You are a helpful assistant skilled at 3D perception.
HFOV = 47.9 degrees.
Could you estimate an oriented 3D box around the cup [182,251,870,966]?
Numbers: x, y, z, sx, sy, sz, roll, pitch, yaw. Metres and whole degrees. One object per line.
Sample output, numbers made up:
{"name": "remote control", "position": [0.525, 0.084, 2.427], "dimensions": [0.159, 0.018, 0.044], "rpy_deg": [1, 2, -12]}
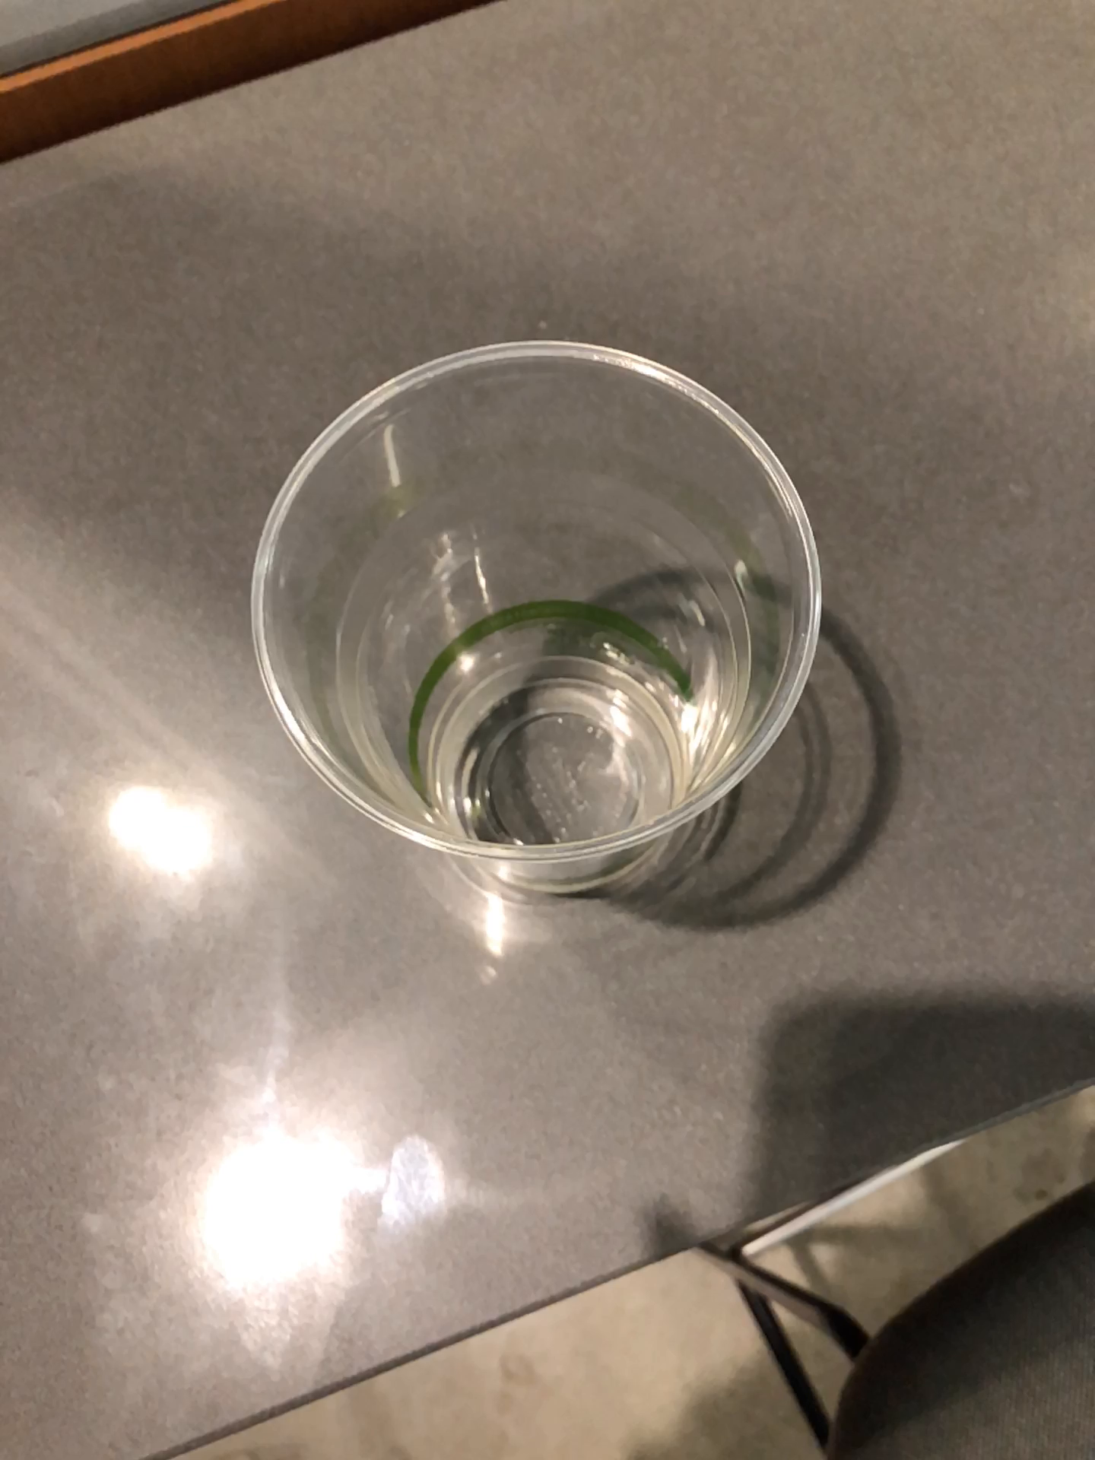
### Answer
{"name": "cup", "position": [0.002, -0.017, 0.260], "dimensions": [0.100, 0.110, 0.100], "rpy_deg": [-1, 70, 3]}
